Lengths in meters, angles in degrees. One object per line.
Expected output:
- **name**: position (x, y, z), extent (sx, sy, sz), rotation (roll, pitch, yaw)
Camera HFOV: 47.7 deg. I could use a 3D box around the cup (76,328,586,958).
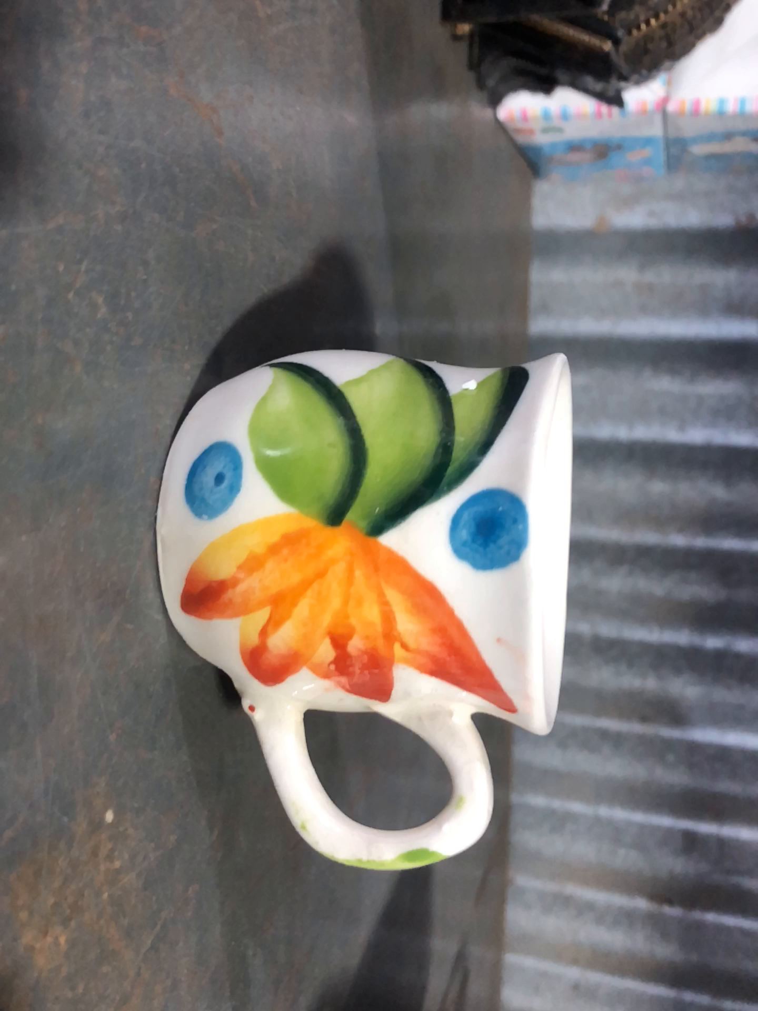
- **cup**: position (0.001, 0.023, 0.166), extent (0.070, 0.070, 0.090), rotation (43, 52, -71)
